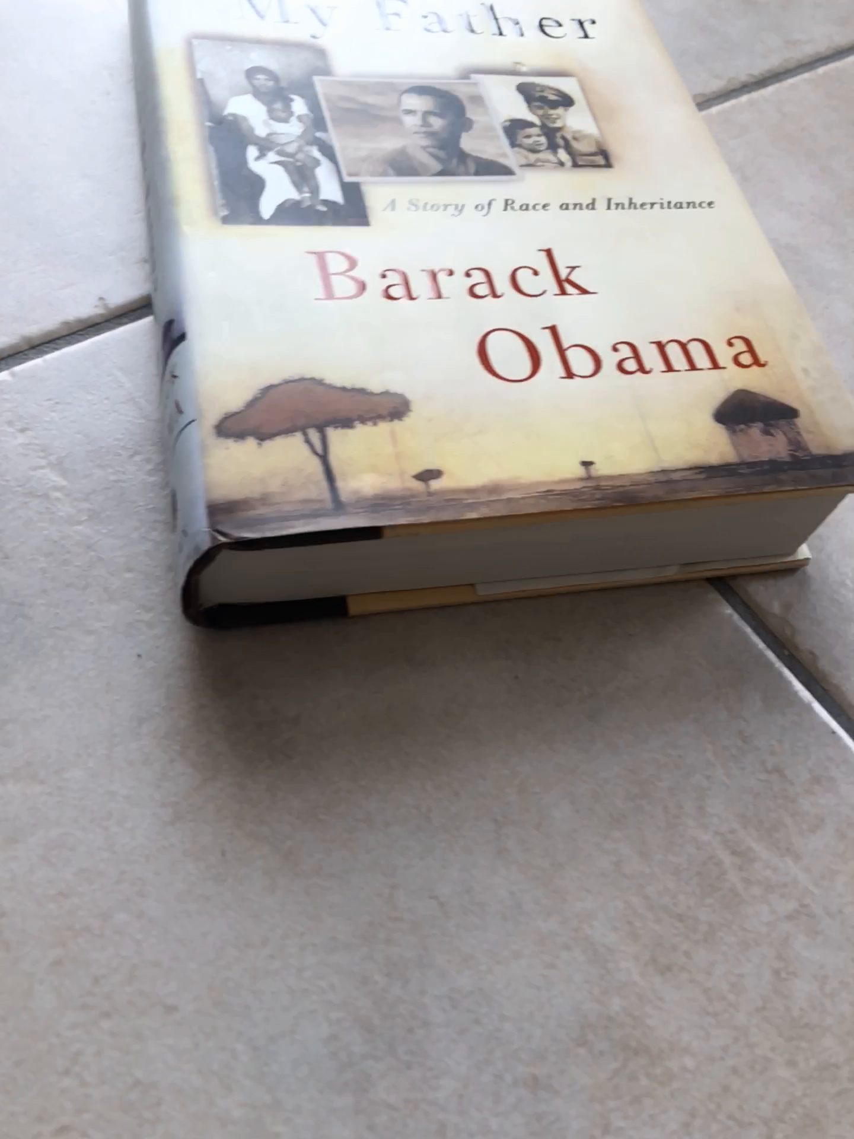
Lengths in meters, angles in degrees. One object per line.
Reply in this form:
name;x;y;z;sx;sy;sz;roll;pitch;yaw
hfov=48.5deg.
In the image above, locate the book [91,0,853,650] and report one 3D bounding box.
book;0.001;-0.119;0.271;0.170;0.050;0.270;-5;61;-14
